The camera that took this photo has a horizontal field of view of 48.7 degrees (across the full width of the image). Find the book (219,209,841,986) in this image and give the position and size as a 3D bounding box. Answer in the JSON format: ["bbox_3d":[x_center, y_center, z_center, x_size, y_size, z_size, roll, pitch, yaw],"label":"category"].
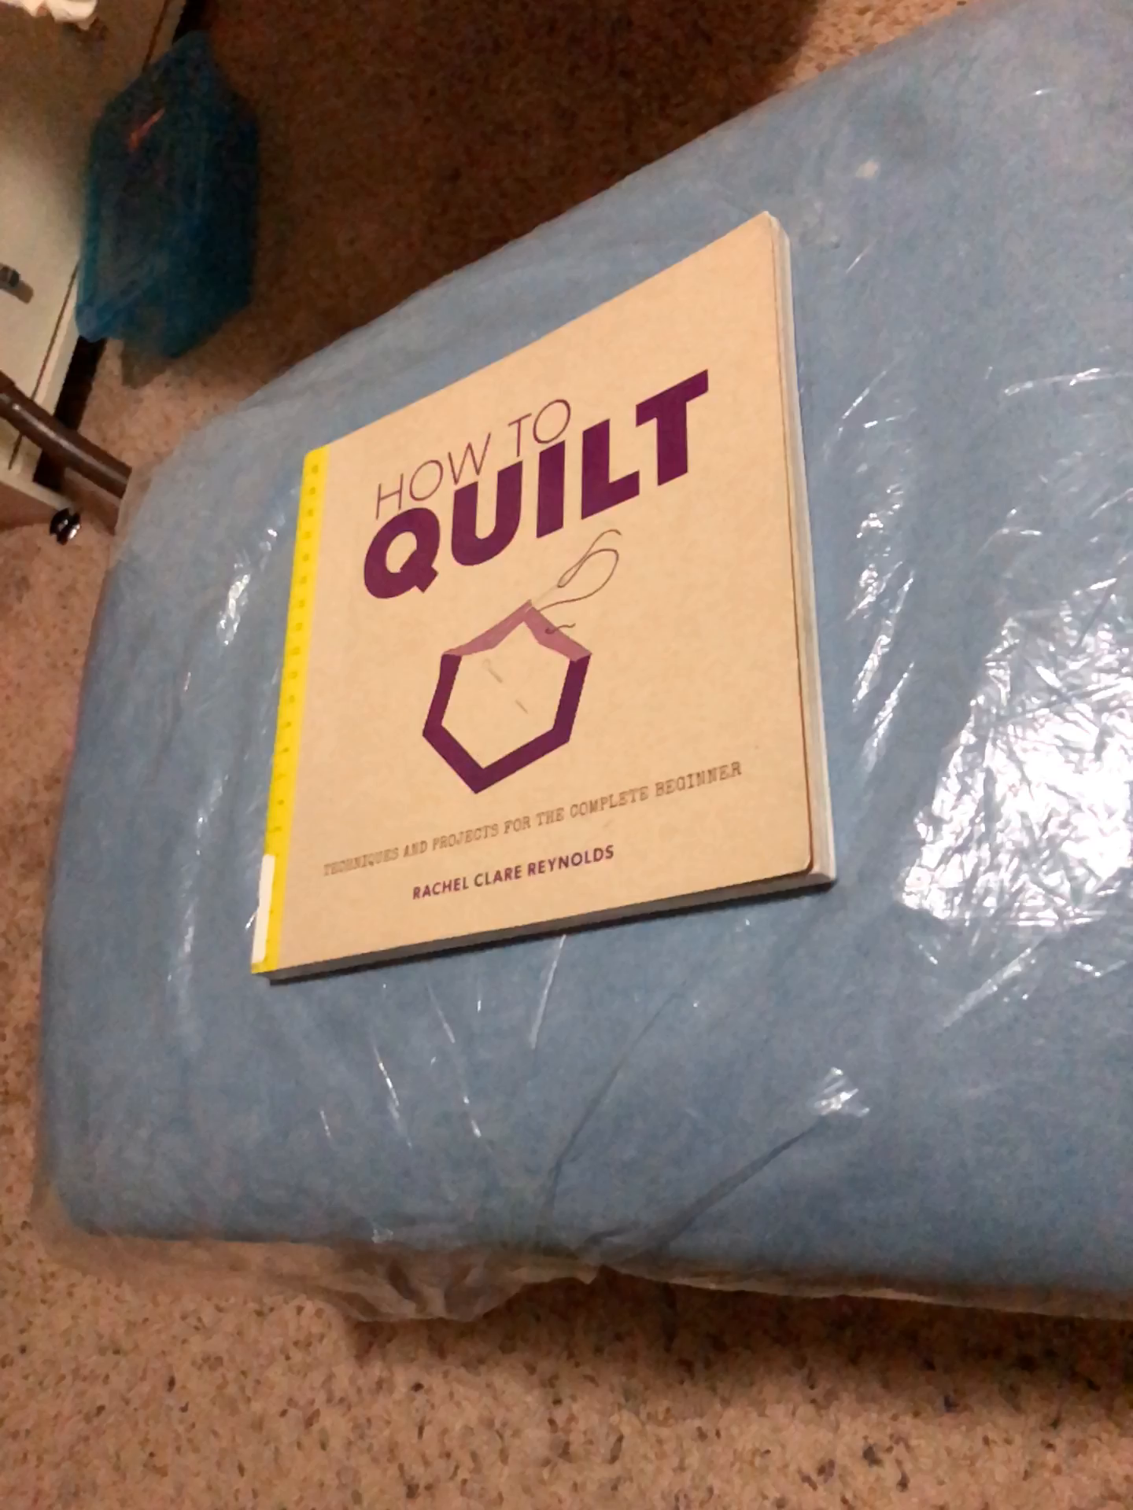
[{"bbox_3d":[-0.022,-0.039,0.386,0.209,0.020,0.194,-15,64,35],"label":"book"}]
